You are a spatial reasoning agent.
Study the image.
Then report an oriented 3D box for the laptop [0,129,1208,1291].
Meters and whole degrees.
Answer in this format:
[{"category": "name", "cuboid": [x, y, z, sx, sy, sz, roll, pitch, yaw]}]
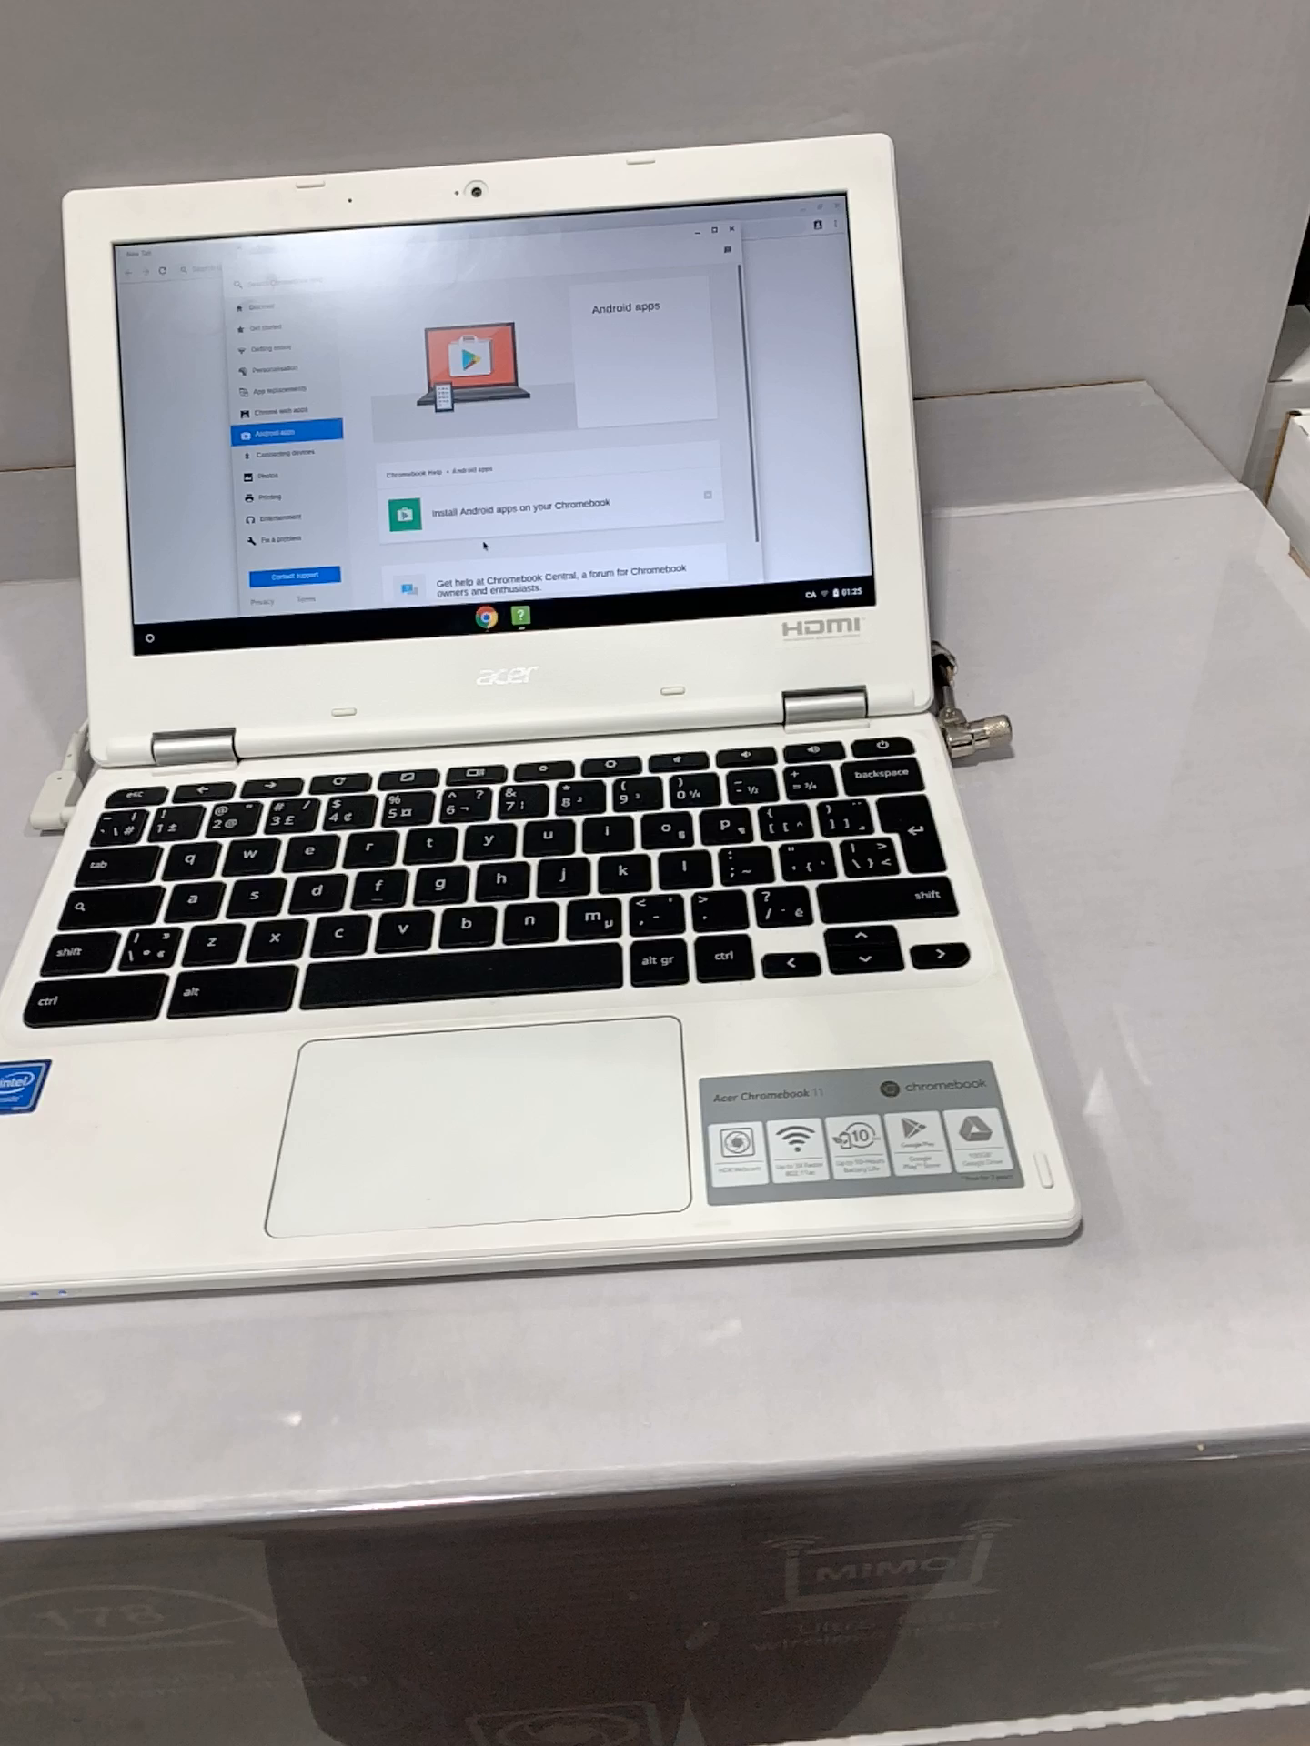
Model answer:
[{"category": "laptop", "cuboid": [-0.050, -0.074, 0.387, 0.282, 0.132, 0.330, -3, 46, 1]}]
